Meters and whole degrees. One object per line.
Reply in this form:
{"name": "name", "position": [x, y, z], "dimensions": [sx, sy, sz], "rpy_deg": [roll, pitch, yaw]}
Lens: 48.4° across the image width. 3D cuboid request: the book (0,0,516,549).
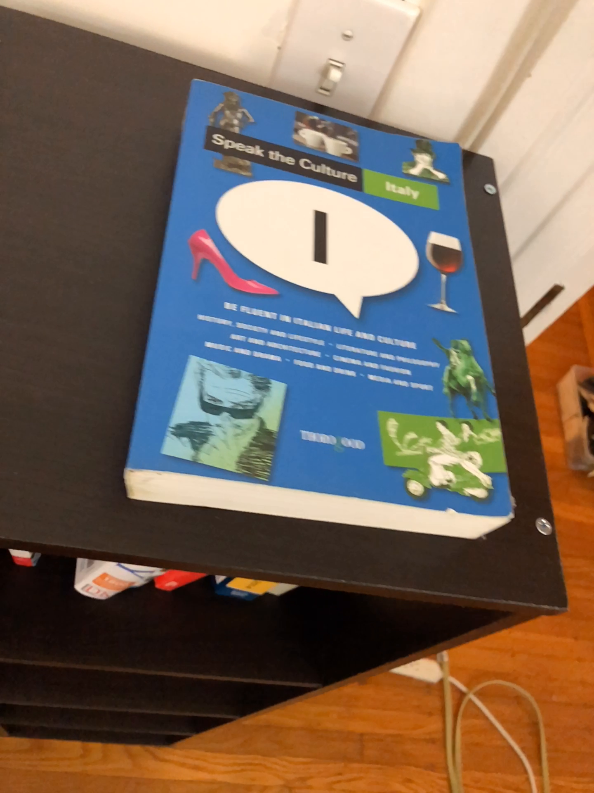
{"name": "book", "position": [-0.014, -0.070, 0.310], "dimensions": [0.200, 0.030, 0.261], "rpy_deg": [9, 59, -15]}
